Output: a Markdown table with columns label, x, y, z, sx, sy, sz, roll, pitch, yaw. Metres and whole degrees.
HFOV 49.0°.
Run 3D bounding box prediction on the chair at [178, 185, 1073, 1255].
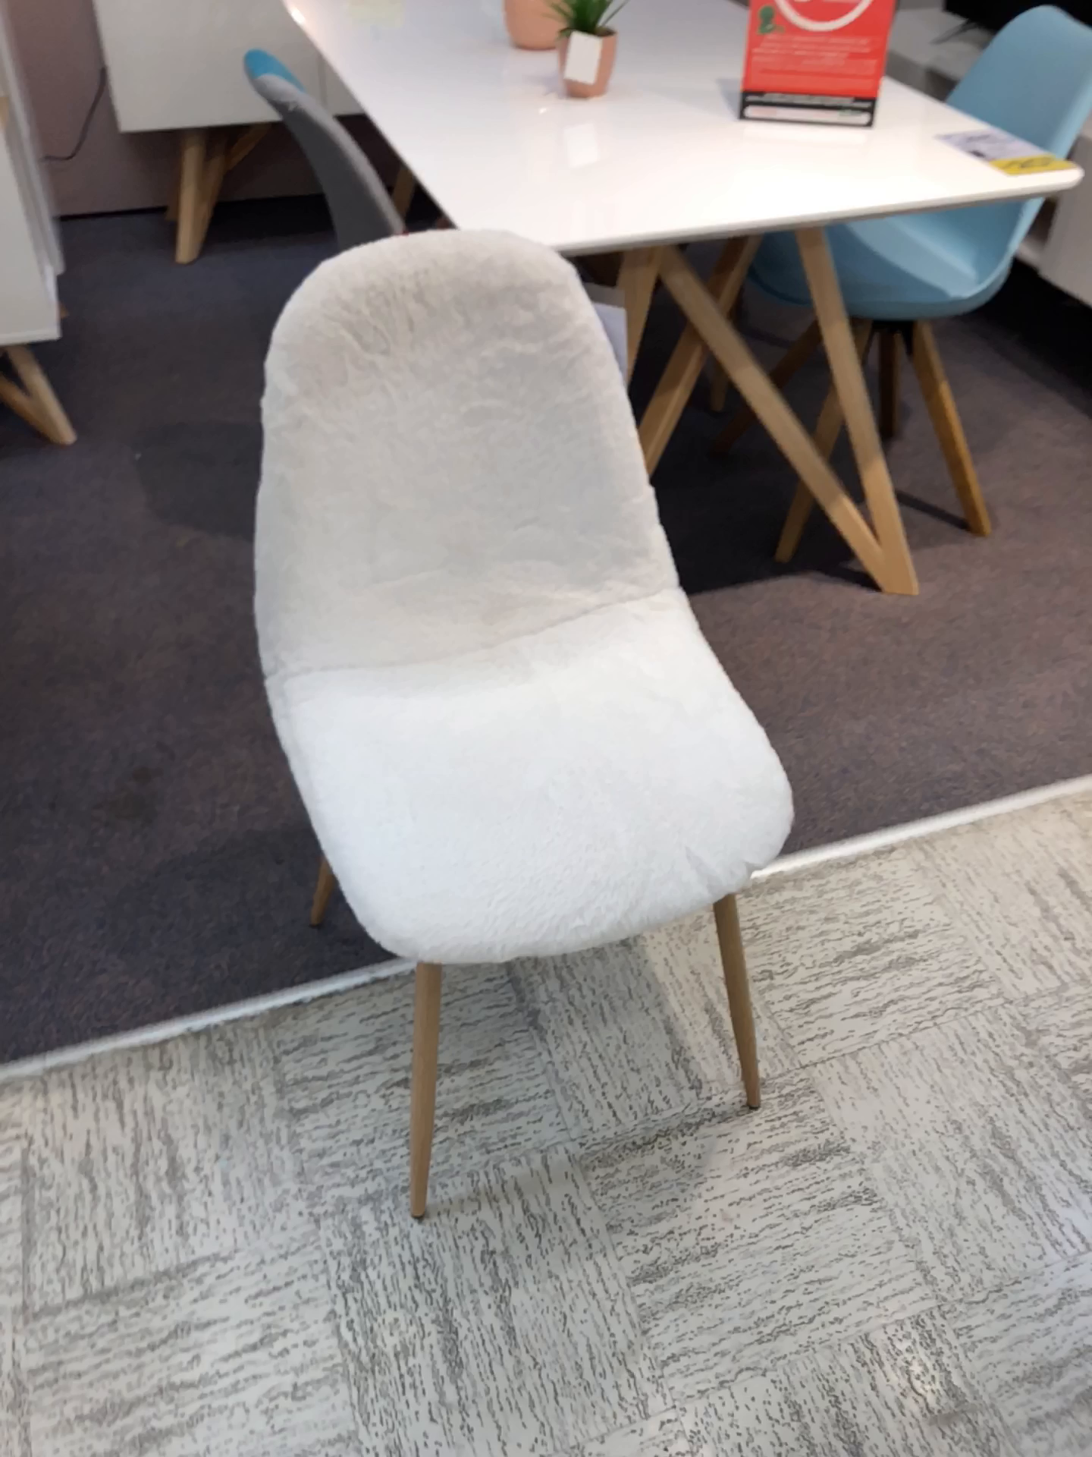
| label | x | y | z | sx | sy | sz | roll | pitch | yaw |
| --- | --- | --- | --- | --- | --- | --- | --- | --- | --- |
| chair | 0.015 | -0.008 | 1.210 | 0.521 | 0.815 | 0.552 | -14 | 43 | -17 |
